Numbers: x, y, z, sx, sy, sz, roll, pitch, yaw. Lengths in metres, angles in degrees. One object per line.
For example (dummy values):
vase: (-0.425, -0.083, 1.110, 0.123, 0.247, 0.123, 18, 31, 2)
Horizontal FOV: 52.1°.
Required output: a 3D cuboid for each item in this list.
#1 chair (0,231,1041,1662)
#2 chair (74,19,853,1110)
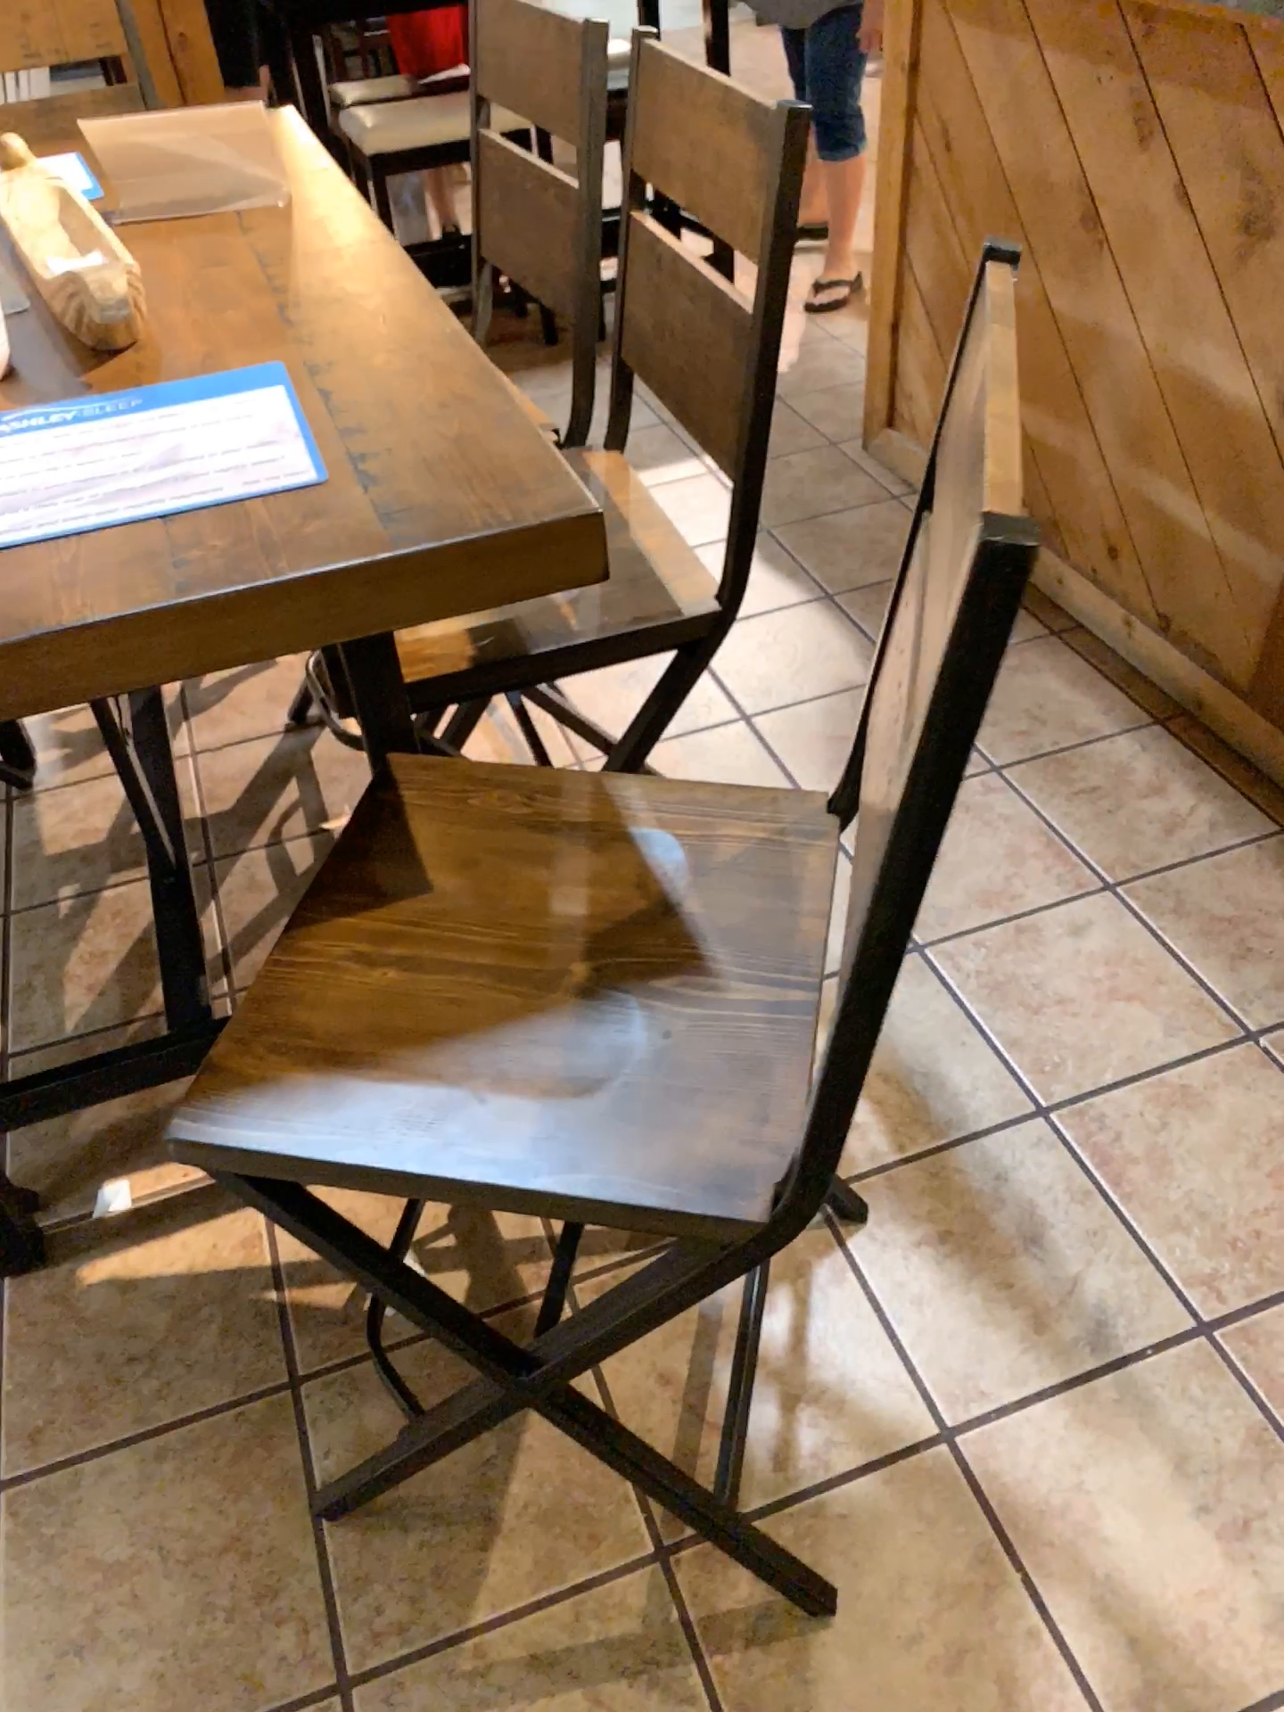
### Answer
chair: (-0.051, 0.119, 1.020, 0.615, 0.983, 0.444, 4, 39, 14)
chair: (-0.148, -0.299, 1.526, 0.615, 1.003, 0.494, -17, 42, -11)
